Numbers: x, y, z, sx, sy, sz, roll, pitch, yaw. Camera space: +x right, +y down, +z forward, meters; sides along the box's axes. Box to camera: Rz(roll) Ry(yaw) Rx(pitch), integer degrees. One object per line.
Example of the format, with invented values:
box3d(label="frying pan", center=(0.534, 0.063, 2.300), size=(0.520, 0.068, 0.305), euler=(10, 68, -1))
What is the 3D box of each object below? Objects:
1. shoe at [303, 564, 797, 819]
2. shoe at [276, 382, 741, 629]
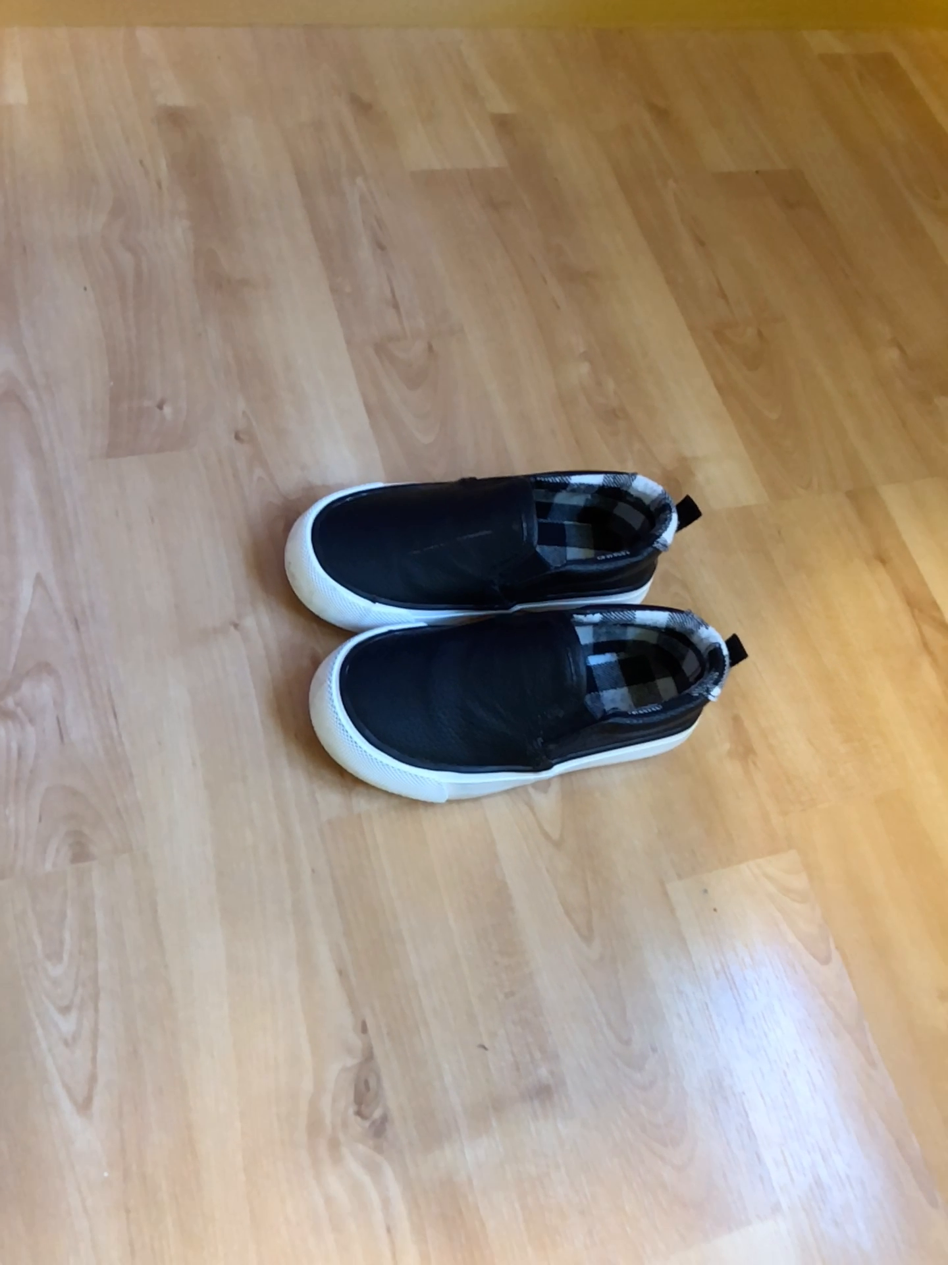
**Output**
box3d(label="shoe", center=(0.025, 0.022, 0.423), size=(0.180, 0.060, 0.080), euler=(-1, 63, -13))
box3d(label="shoe", center=(0.010, -0.054, 0.447), size=(0.180, 0.060, 0.080), euler=(-2, 63, -13))
